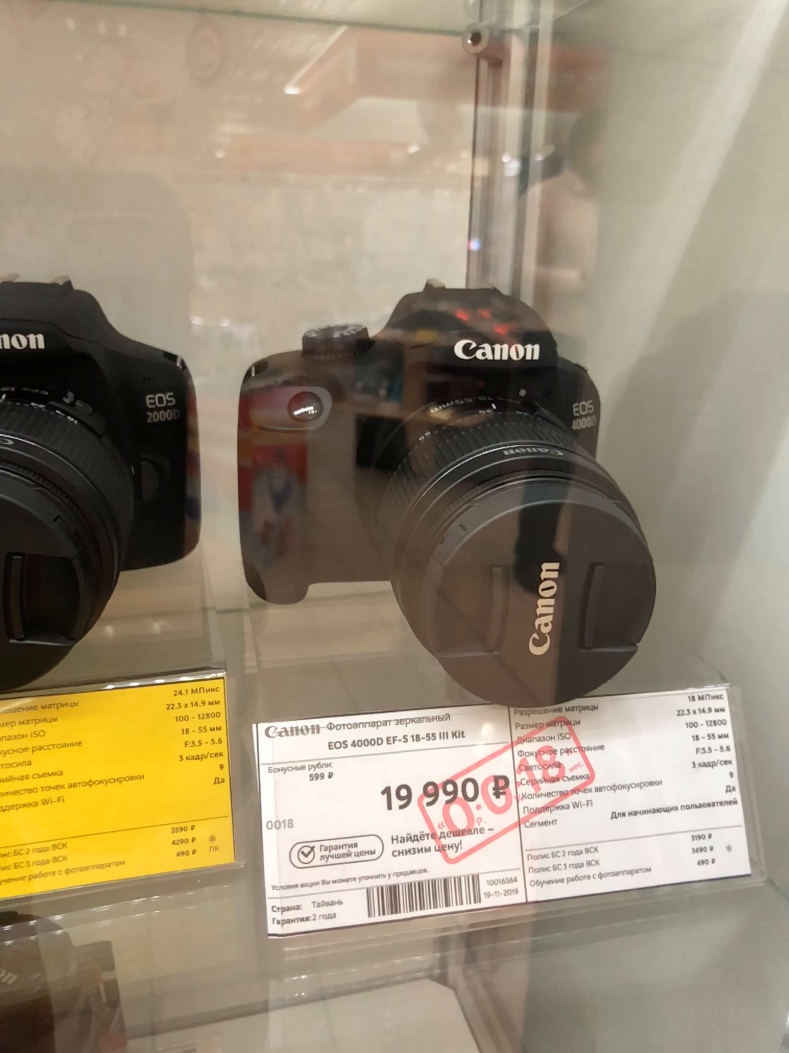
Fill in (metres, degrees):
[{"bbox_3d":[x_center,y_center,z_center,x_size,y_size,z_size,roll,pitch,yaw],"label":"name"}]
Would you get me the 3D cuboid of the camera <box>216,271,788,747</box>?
[{"bbox_3d":[0.014,-0.022,0.269,0.125,0.100,0.147,-3,18,-13],"label":"camera"}]
